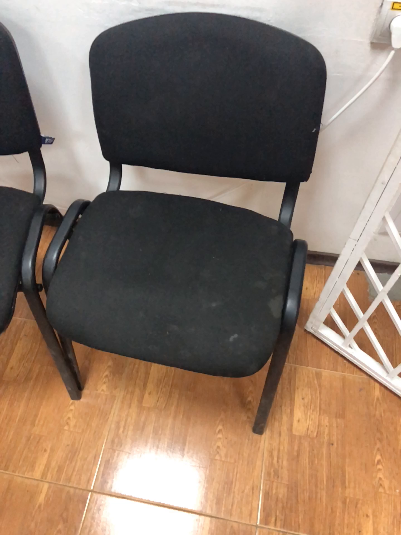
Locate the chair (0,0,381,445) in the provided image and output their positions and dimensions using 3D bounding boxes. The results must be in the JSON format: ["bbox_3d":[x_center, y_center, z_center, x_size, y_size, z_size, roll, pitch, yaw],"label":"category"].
[{"bbox_3d":[-0.010,-0.060,0.975,0.570,0.688,0.621,11,59,7],"label":"chair"}]
